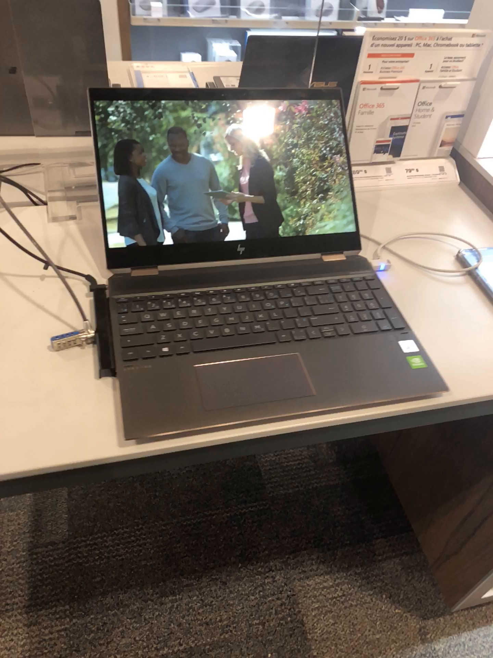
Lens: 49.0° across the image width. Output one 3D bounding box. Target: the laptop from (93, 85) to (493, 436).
[{"bbox_3d":[0.008,-0.120,0.635,0.334,0.145,0.426,-7,47,-11],"label":"laptop"}]
